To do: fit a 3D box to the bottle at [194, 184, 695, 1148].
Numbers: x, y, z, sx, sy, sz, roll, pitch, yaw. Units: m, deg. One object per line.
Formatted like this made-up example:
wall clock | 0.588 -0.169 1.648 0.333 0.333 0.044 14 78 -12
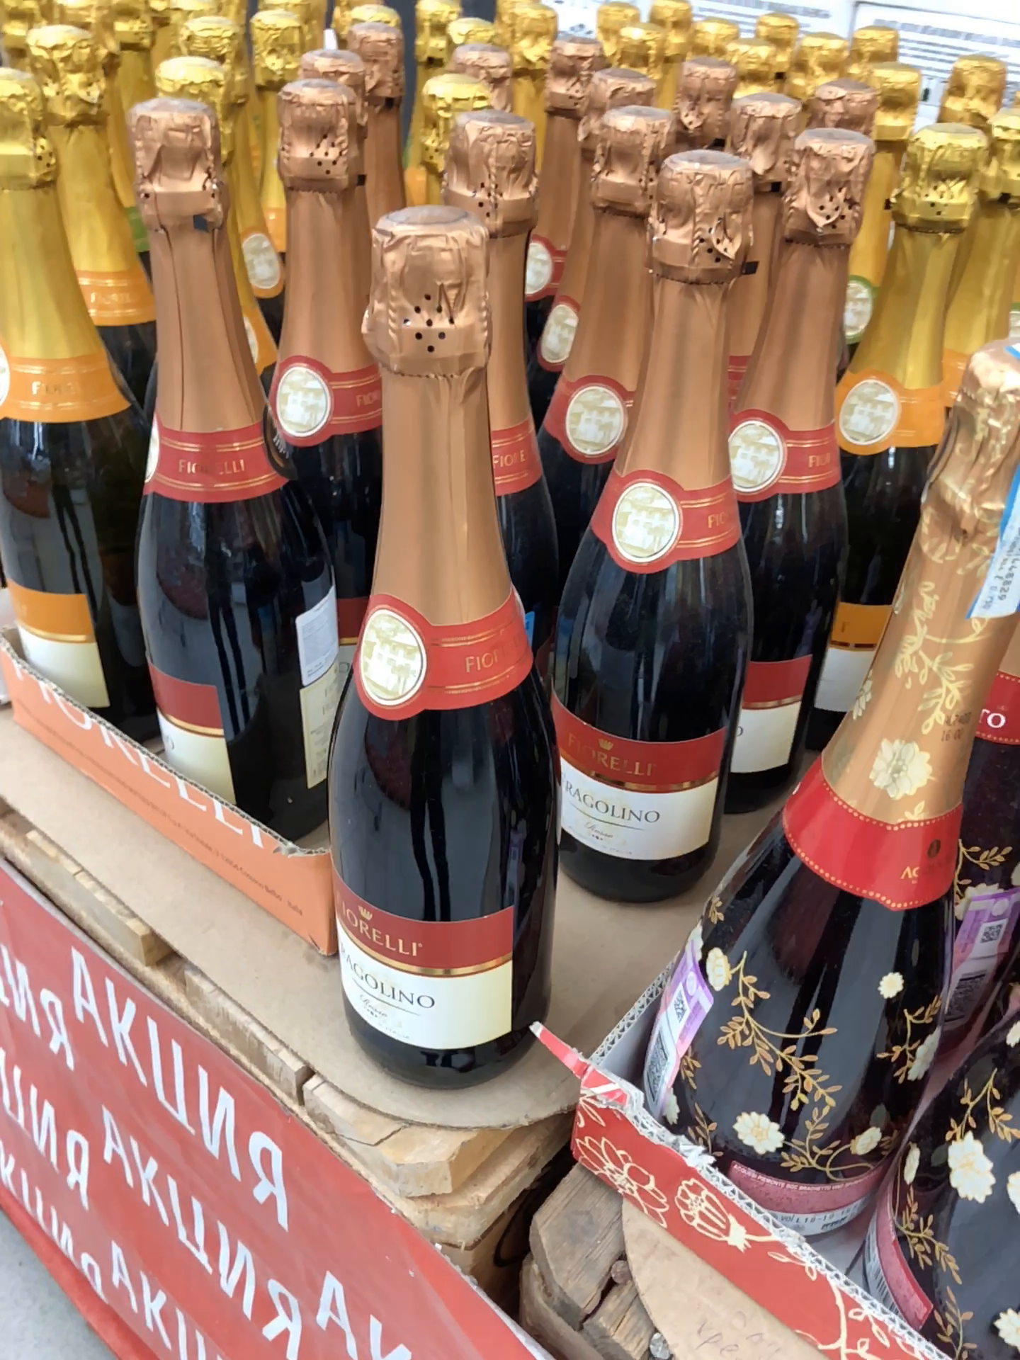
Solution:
bottle | -0.022 0.010 0.372 0.090 0.298 0.090 2 35 -2
